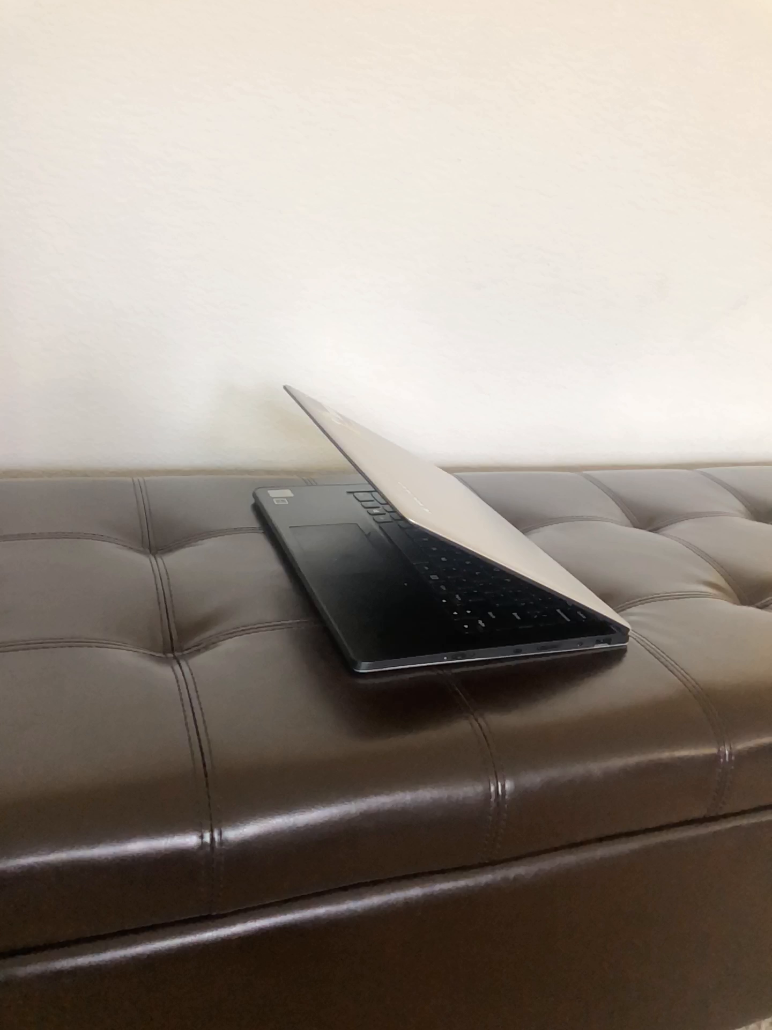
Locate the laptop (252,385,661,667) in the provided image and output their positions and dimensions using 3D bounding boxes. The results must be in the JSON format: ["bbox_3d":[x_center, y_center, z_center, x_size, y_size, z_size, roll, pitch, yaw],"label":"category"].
[{"bbox_3d":[0.029,-0.014,0.663,0.197,0.097,0.294,-3,24,-22],"label":"laptop"}]
